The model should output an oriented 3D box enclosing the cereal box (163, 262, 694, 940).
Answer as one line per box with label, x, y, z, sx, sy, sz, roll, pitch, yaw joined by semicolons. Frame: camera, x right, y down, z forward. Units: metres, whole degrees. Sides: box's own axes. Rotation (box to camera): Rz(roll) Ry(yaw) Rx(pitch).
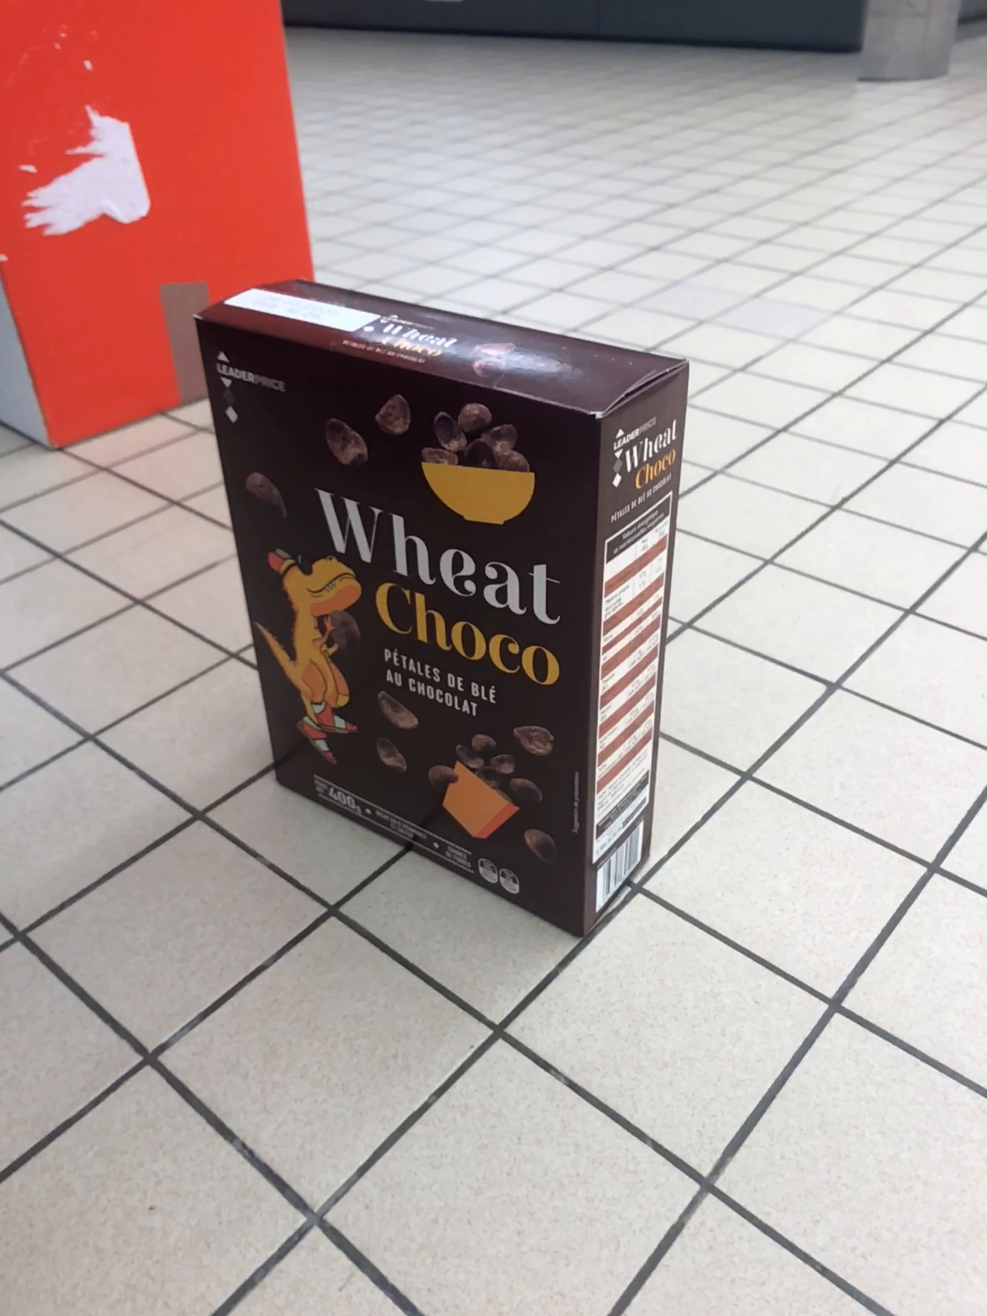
cereal box;-0.027;-0.025;0.486;0.200;0.248;0.070;21;41;29
